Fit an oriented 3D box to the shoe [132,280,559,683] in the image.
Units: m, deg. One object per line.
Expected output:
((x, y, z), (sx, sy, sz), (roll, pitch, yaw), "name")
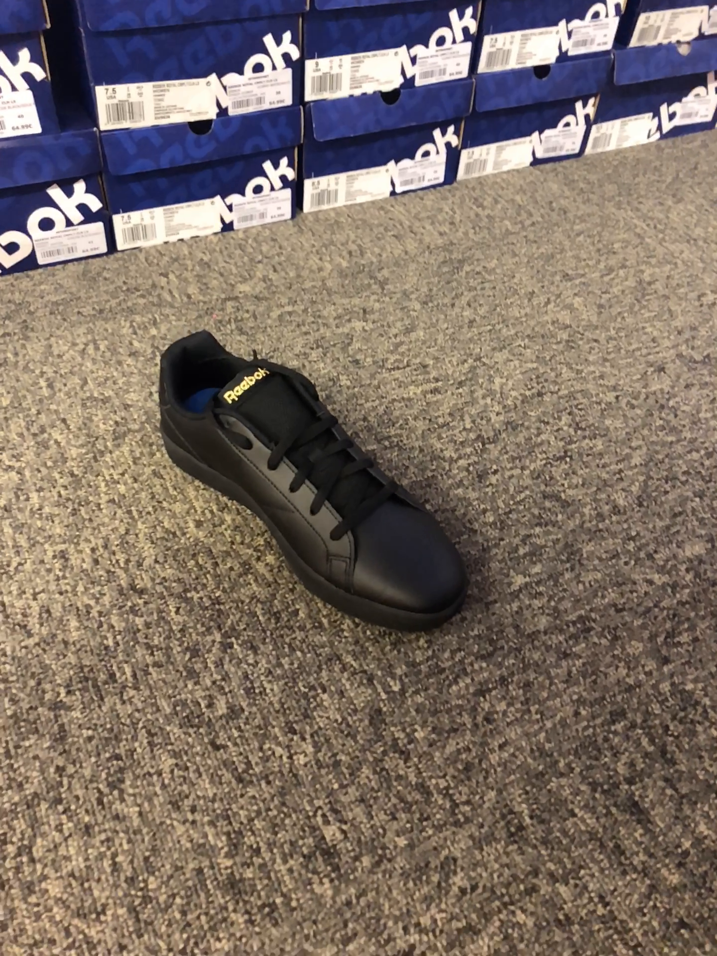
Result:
((-0.019, -0.010, 0.498), (0.260, 0.089, 0.099), (38, 54, 25), "shoe")
